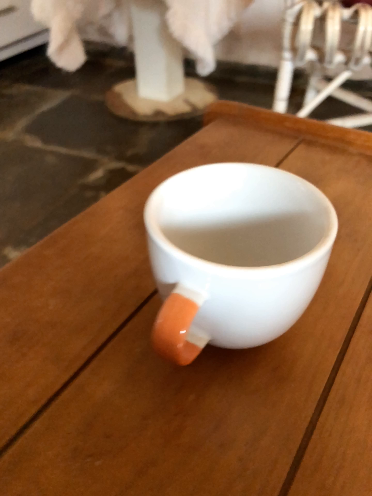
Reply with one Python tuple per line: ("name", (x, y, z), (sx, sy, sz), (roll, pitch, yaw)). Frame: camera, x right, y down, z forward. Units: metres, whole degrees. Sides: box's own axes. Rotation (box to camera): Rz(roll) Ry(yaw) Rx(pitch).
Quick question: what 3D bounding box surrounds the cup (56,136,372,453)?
("cup", (0.020, 0.008, 0.191), (0.090, 0.060, 0.111), (20, 44, 23))
